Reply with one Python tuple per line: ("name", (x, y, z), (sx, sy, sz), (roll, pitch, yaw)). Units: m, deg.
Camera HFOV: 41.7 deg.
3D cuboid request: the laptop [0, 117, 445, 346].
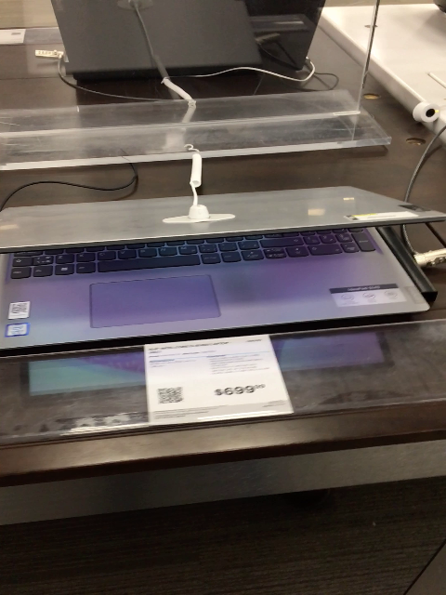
("laptop", (-0.030, -0.077, 0.573), (0.399, 0.097, 0.224), (-6, 41, -5))
